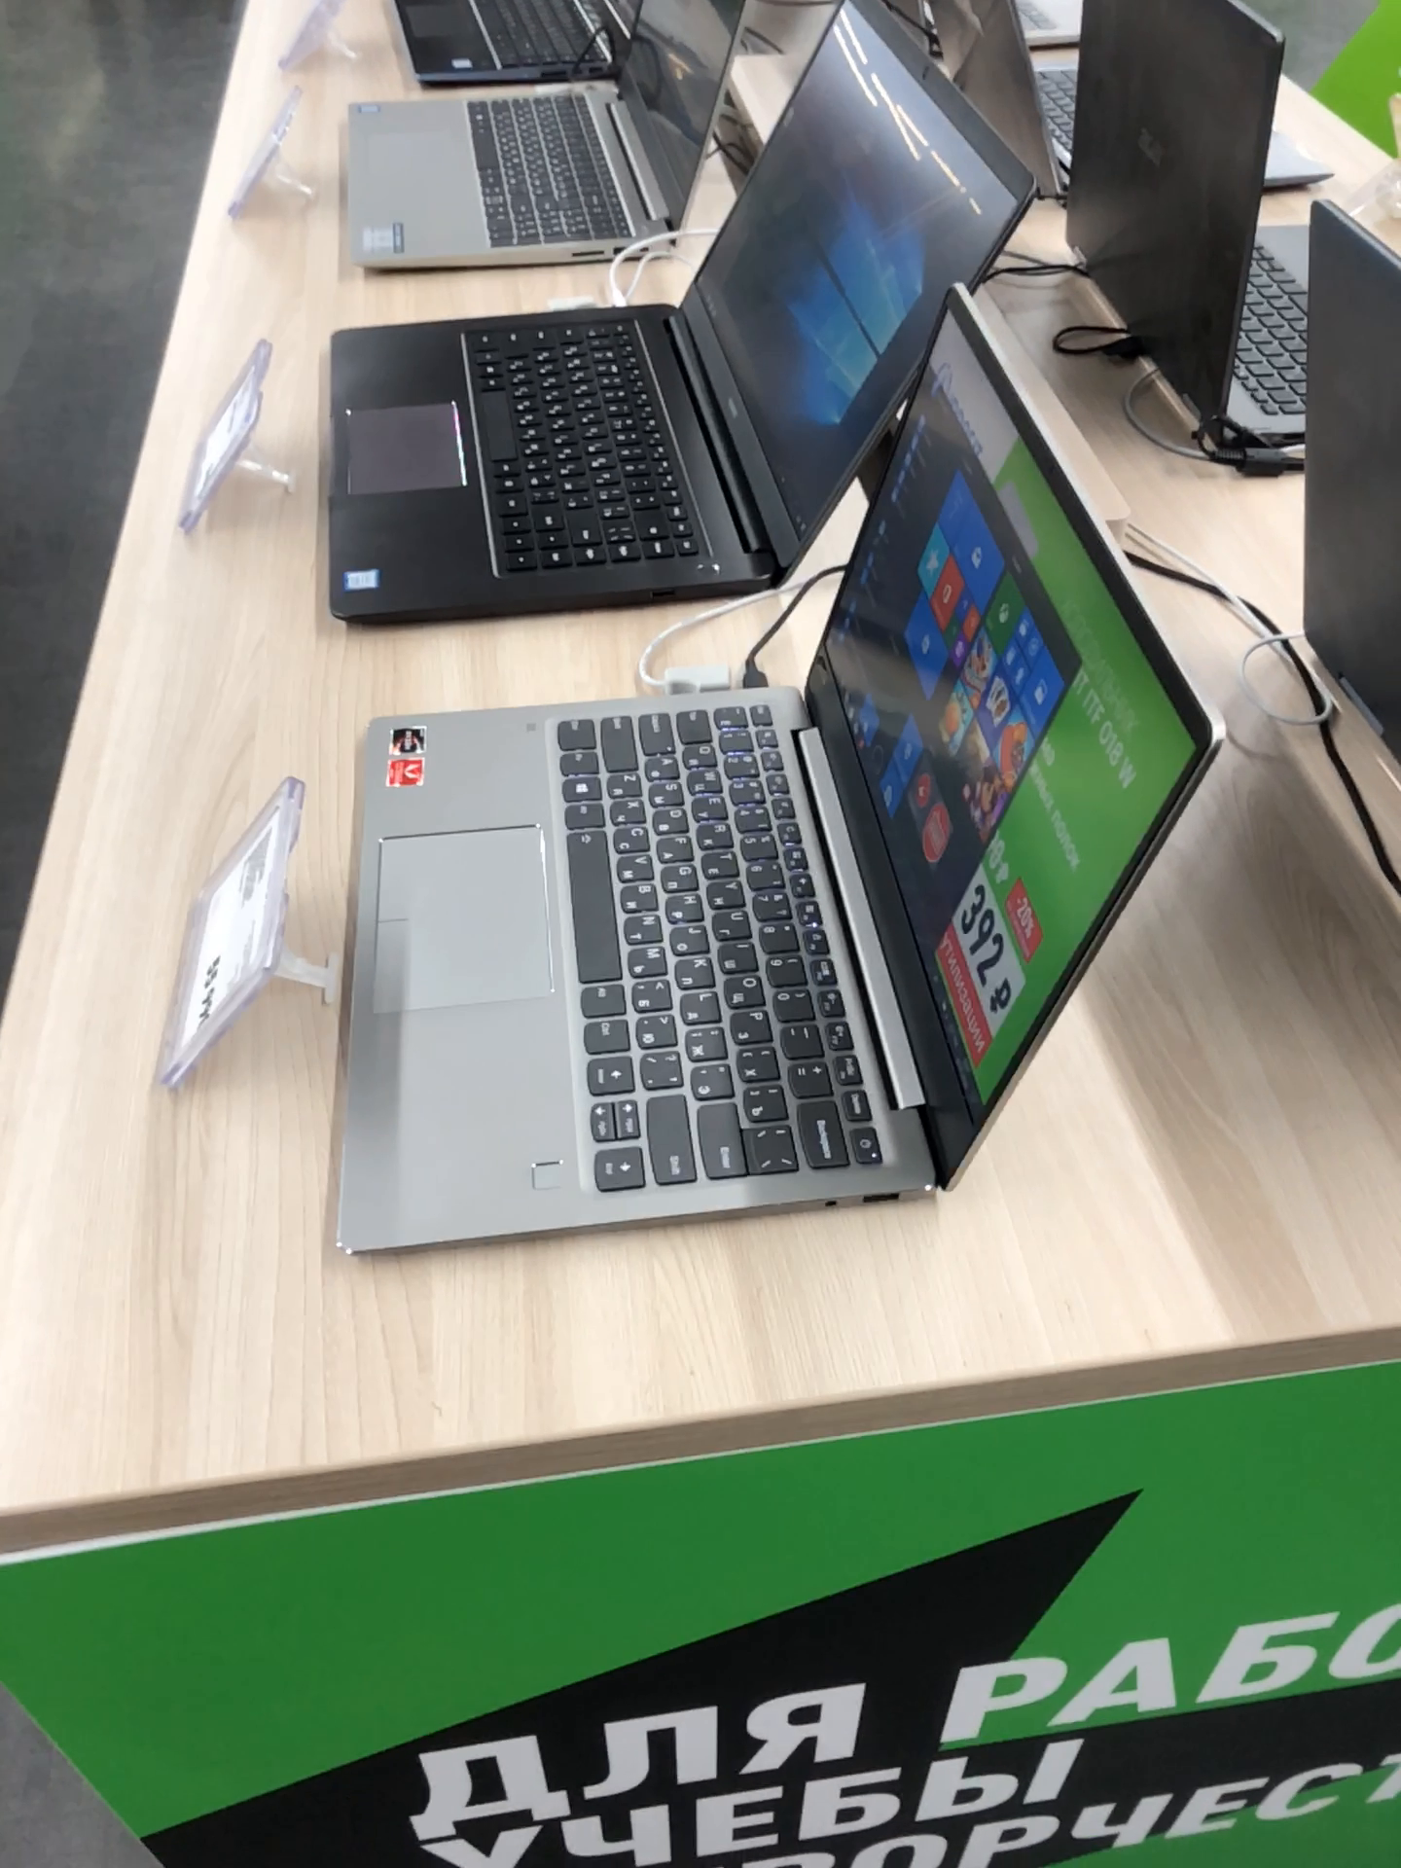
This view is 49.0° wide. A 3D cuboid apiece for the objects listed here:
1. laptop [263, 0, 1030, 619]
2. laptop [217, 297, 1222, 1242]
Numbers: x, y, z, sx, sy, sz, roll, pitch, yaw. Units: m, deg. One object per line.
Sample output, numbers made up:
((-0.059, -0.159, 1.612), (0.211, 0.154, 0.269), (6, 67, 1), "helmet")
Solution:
((-0.045, -0.370, 0.861), (0.339, 0.188, 0.346), (-7, 45, -5), "laptop")
((-0.009, -0.074, 0.564), (0.261, 0.187, 0.286), (-5, 45, -4), "laptop")
